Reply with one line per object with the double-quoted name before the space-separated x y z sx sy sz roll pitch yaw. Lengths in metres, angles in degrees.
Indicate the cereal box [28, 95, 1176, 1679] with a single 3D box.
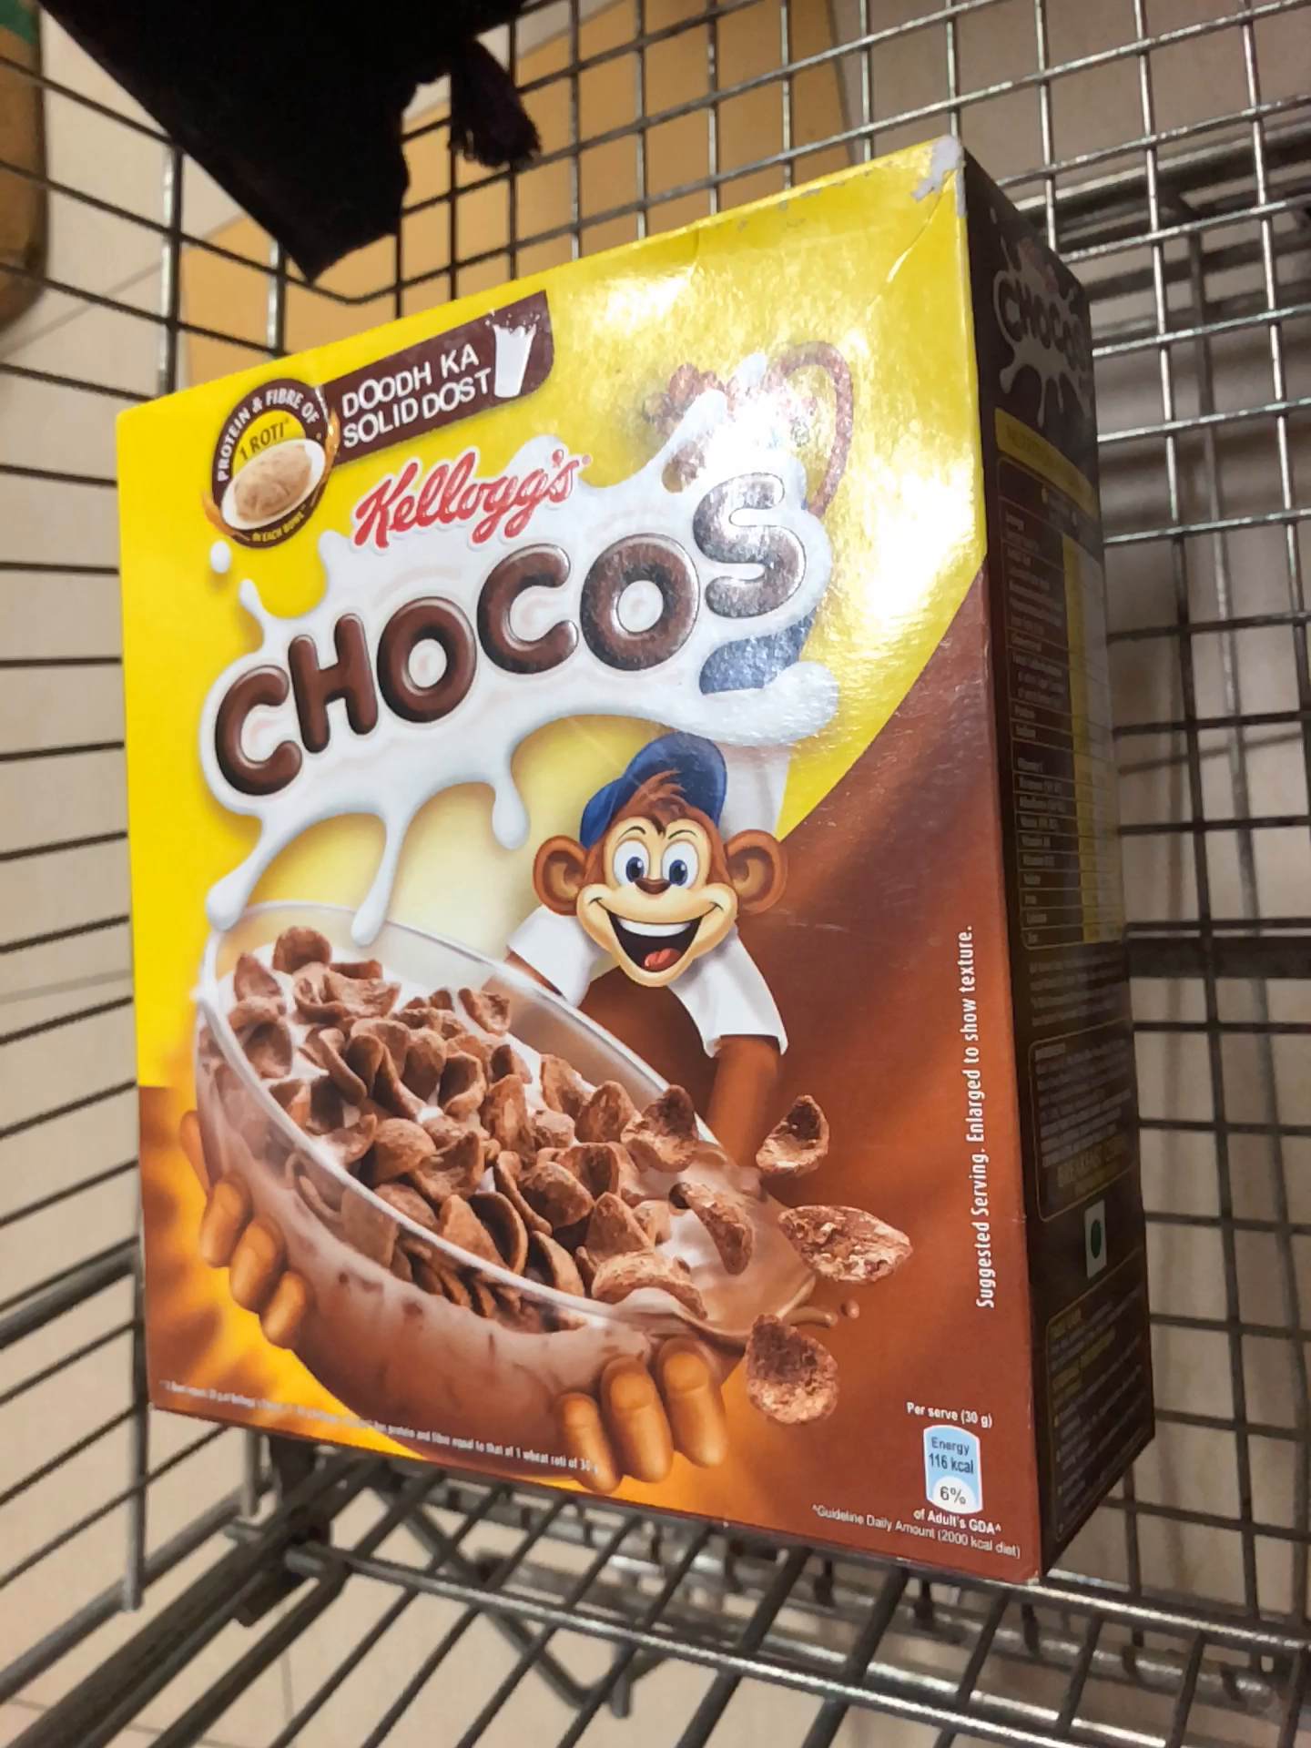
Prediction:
"cereal box" -0.017 0.005 0.253 0.181 0.070 0.190 -4 88 32
